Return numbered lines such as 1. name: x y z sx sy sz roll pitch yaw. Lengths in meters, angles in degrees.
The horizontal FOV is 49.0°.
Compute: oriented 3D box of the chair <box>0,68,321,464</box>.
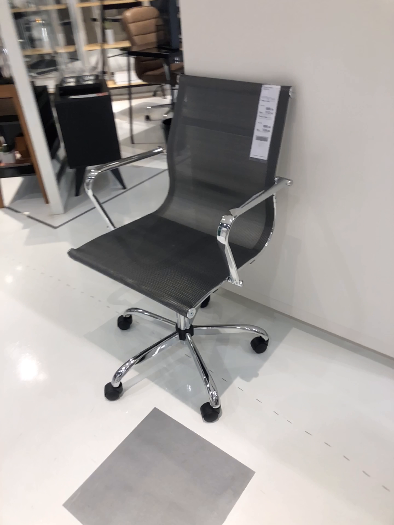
1. chair: -0.085 -0.045 1.369 0.622 0.903 0.653 22 42 34
